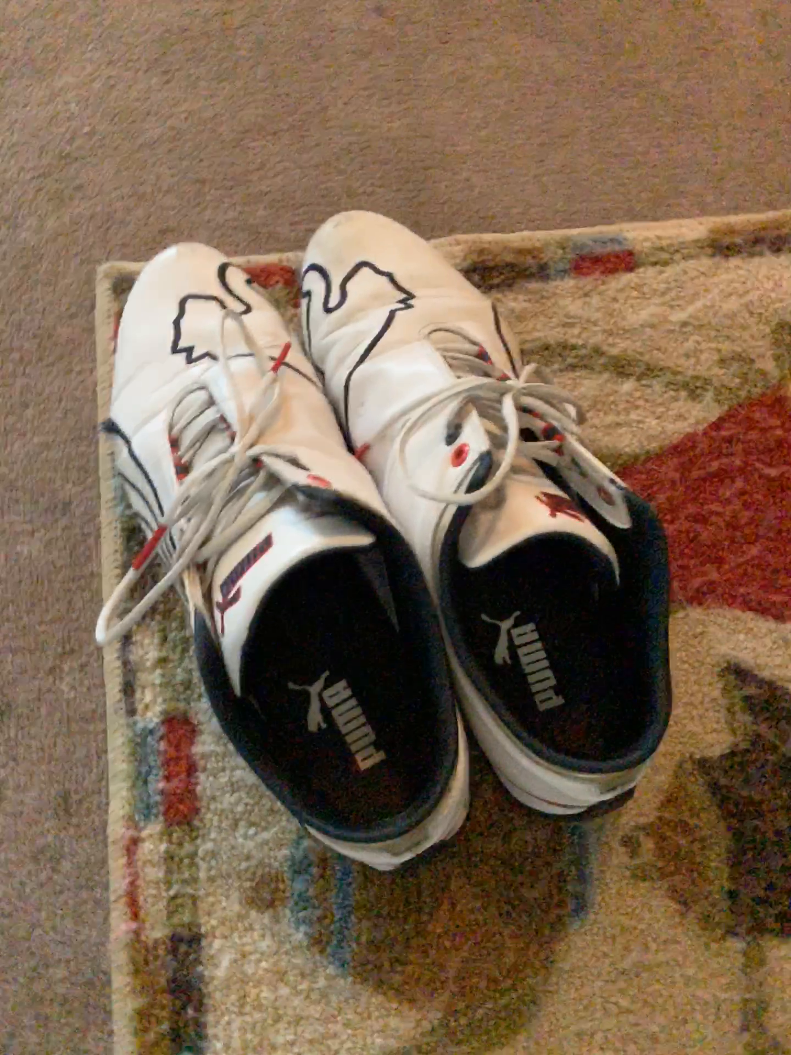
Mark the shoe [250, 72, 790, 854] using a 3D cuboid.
[{"bbox_3d":[0.037,-0.032,0.346,0.100,0.090,0.291,-19,77,-9],"label":"shoe"}]

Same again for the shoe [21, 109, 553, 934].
[{"bbox_3d":[-0.050,-0.010,0.340,0.100,0.100,0.291,-19,77,-9],"label":"shoe"}]
